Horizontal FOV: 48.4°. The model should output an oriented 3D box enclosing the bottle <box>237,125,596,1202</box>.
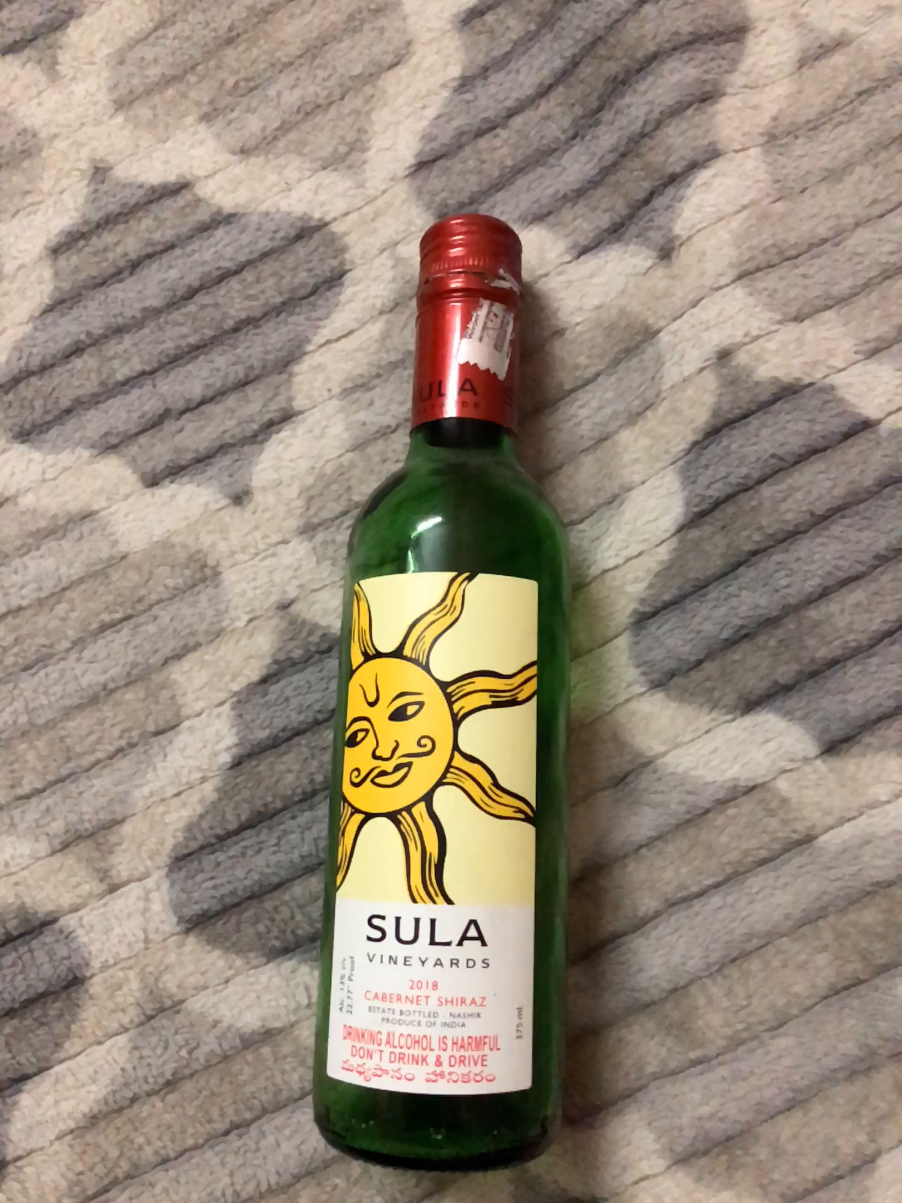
[{"bbox_3d":[-0.001,0.013,0.229,0.060,0.050,0.230,1,80,11],"label":"bottle"}]
